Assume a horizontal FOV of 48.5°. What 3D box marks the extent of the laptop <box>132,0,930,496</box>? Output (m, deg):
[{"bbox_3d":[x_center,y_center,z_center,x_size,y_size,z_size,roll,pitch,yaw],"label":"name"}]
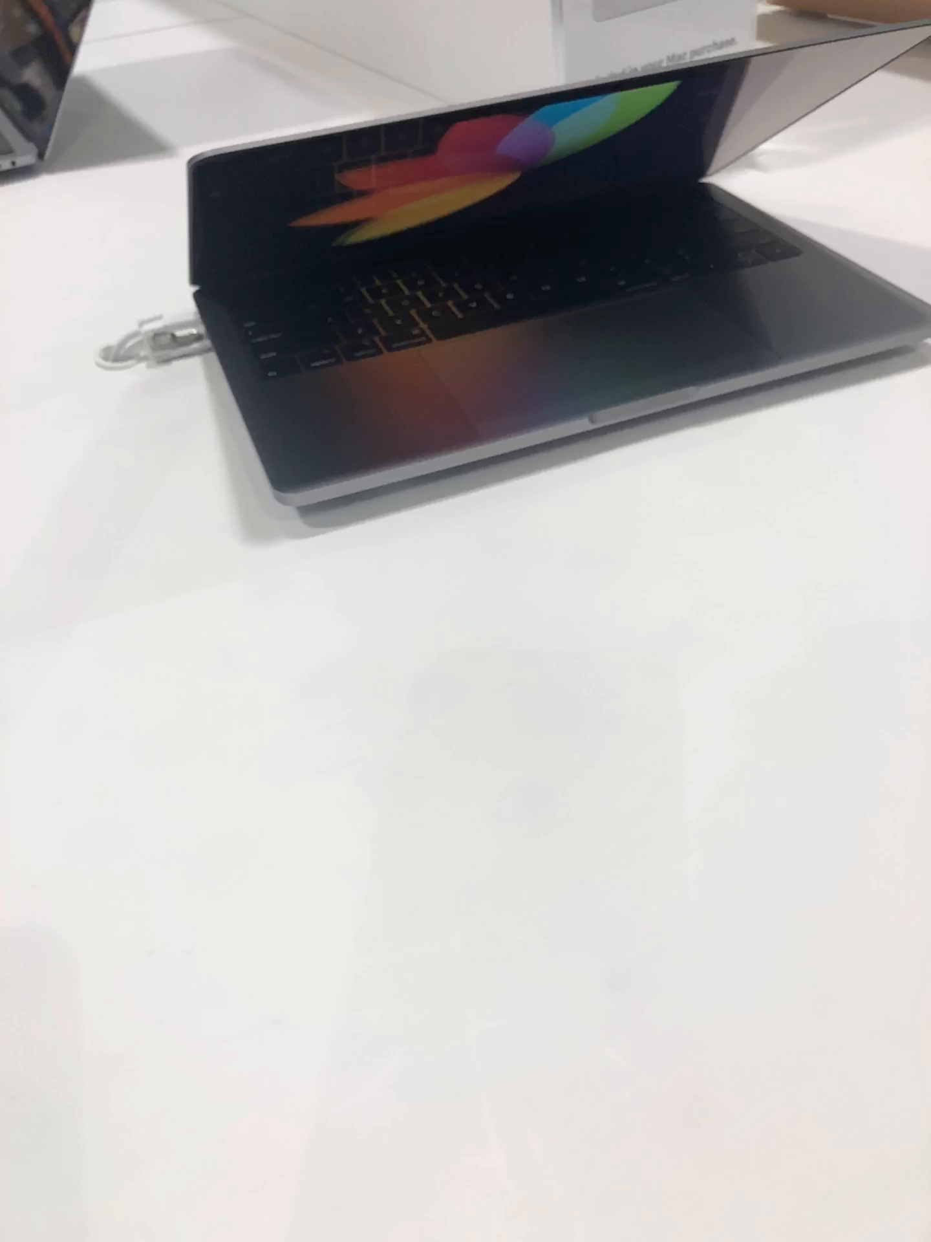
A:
[{"bbox_3d":[0.031,-0.190,0.450,0.296,0.109,0.211,-17,42,-13],"label":"laptop"}]
